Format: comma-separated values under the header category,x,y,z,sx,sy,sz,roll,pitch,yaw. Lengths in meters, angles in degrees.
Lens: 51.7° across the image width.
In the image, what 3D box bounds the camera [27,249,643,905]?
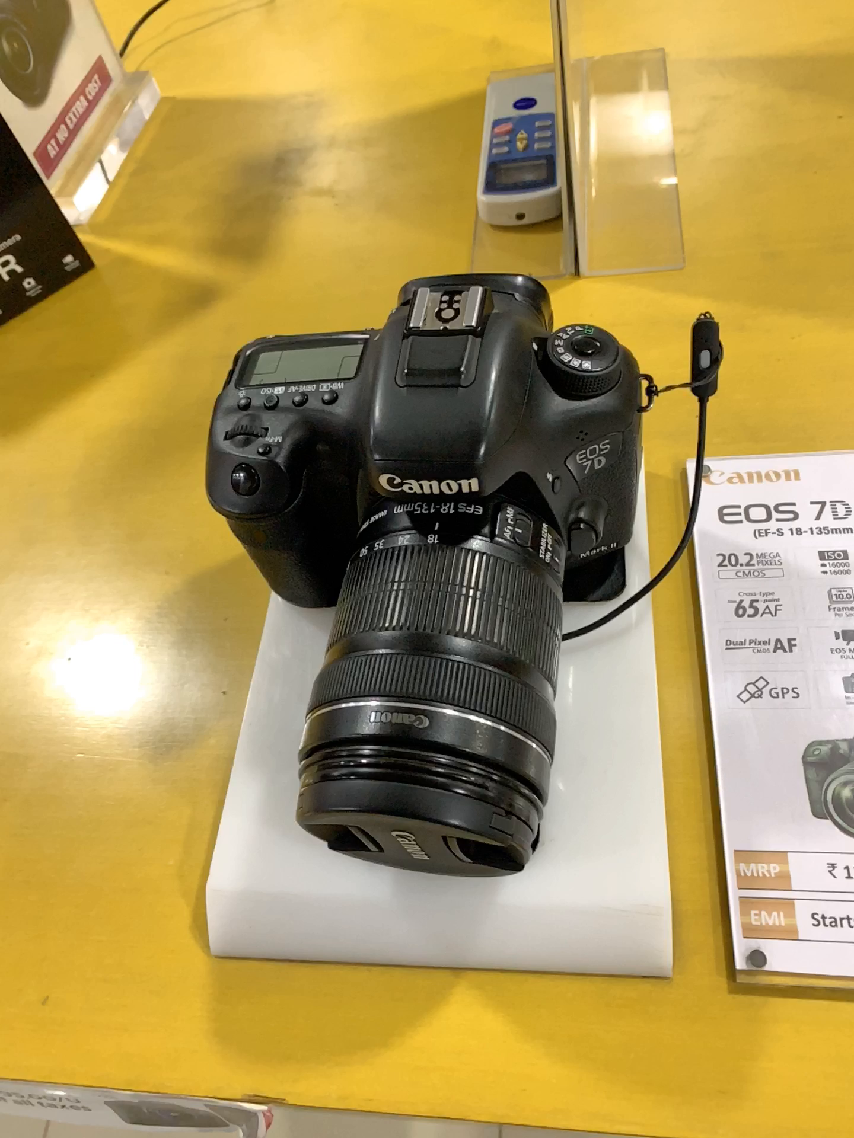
category,x,y,z,sx,sy,sz,roll,pitch,yaw
camera,-0.005,0.004,0.284,0.140,0.120,0.160,1,57,13
